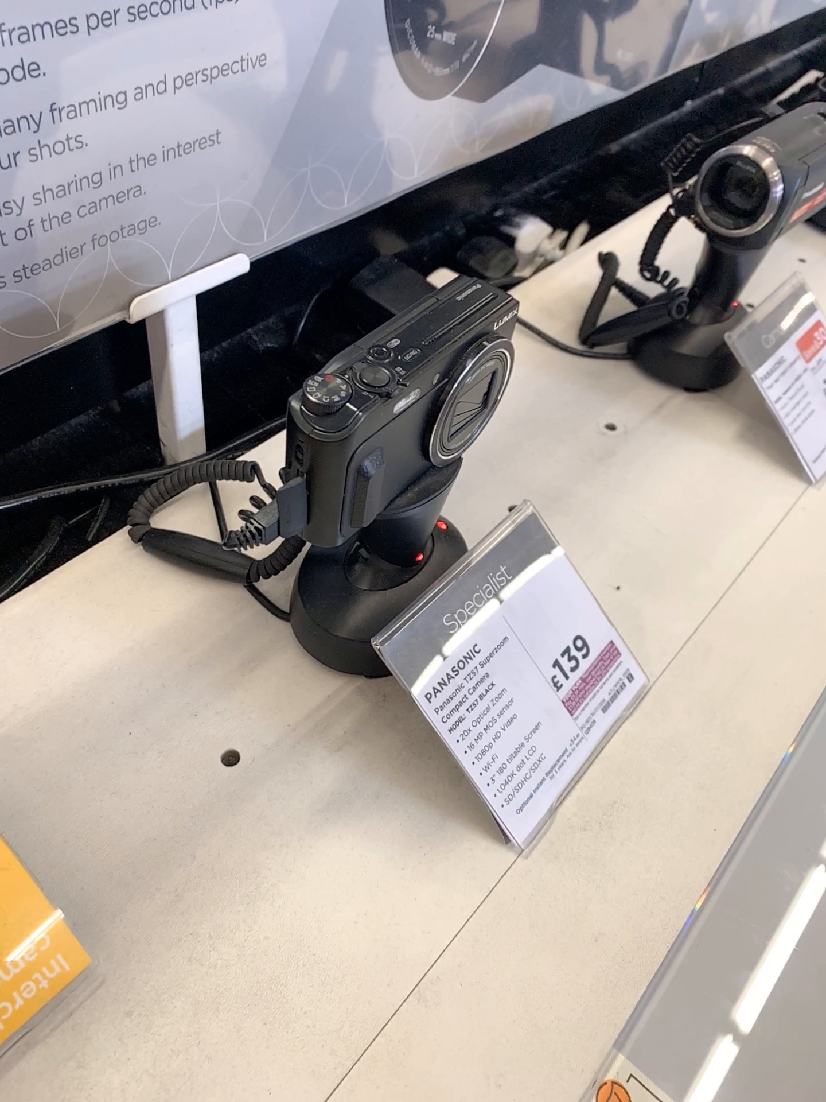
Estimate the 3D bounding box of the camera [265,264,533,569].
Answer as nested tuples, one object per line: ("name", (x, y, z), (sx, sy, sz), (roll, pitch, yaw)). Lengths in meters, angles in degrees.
("camera", (-0.004, -0.052, 0.312), (0.030, 0.059, 0.111), (34, 52, 18))
